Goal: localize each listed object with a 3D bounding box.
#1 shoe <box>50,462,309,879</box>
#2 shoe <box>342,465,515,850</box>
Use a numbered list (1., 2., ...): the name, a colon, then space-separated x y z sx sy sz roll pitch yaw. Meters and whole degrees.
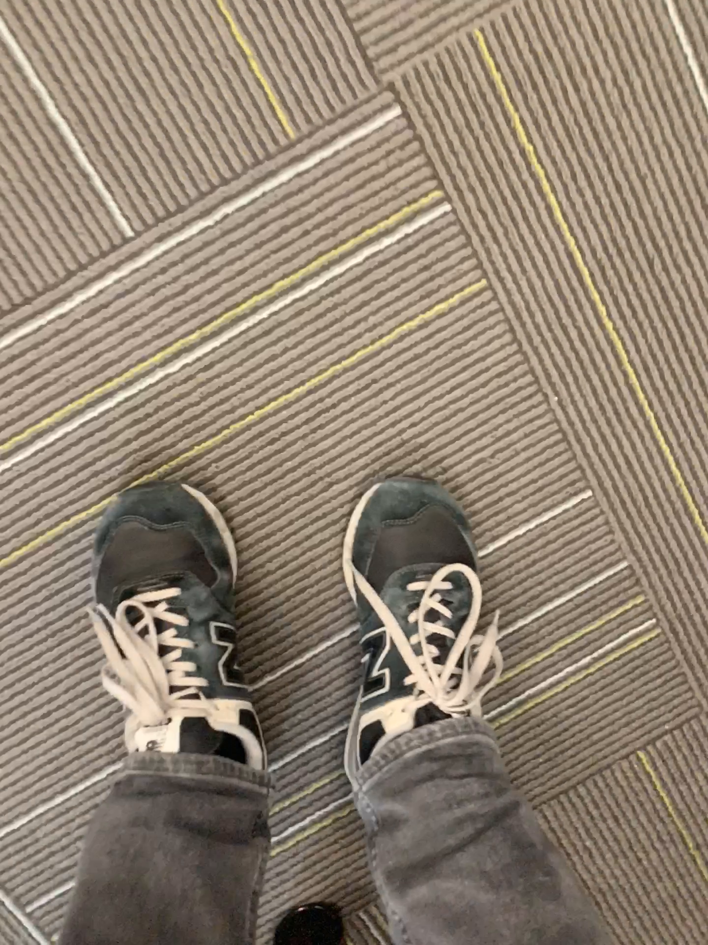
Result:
1. shoe: -0.125 0.153 0.560 0.121 0.071 0.296 -12 103 -4
2. shoe: 0.053 0.146 0.580 0.119 0.071 0.295 -1 102 -7
